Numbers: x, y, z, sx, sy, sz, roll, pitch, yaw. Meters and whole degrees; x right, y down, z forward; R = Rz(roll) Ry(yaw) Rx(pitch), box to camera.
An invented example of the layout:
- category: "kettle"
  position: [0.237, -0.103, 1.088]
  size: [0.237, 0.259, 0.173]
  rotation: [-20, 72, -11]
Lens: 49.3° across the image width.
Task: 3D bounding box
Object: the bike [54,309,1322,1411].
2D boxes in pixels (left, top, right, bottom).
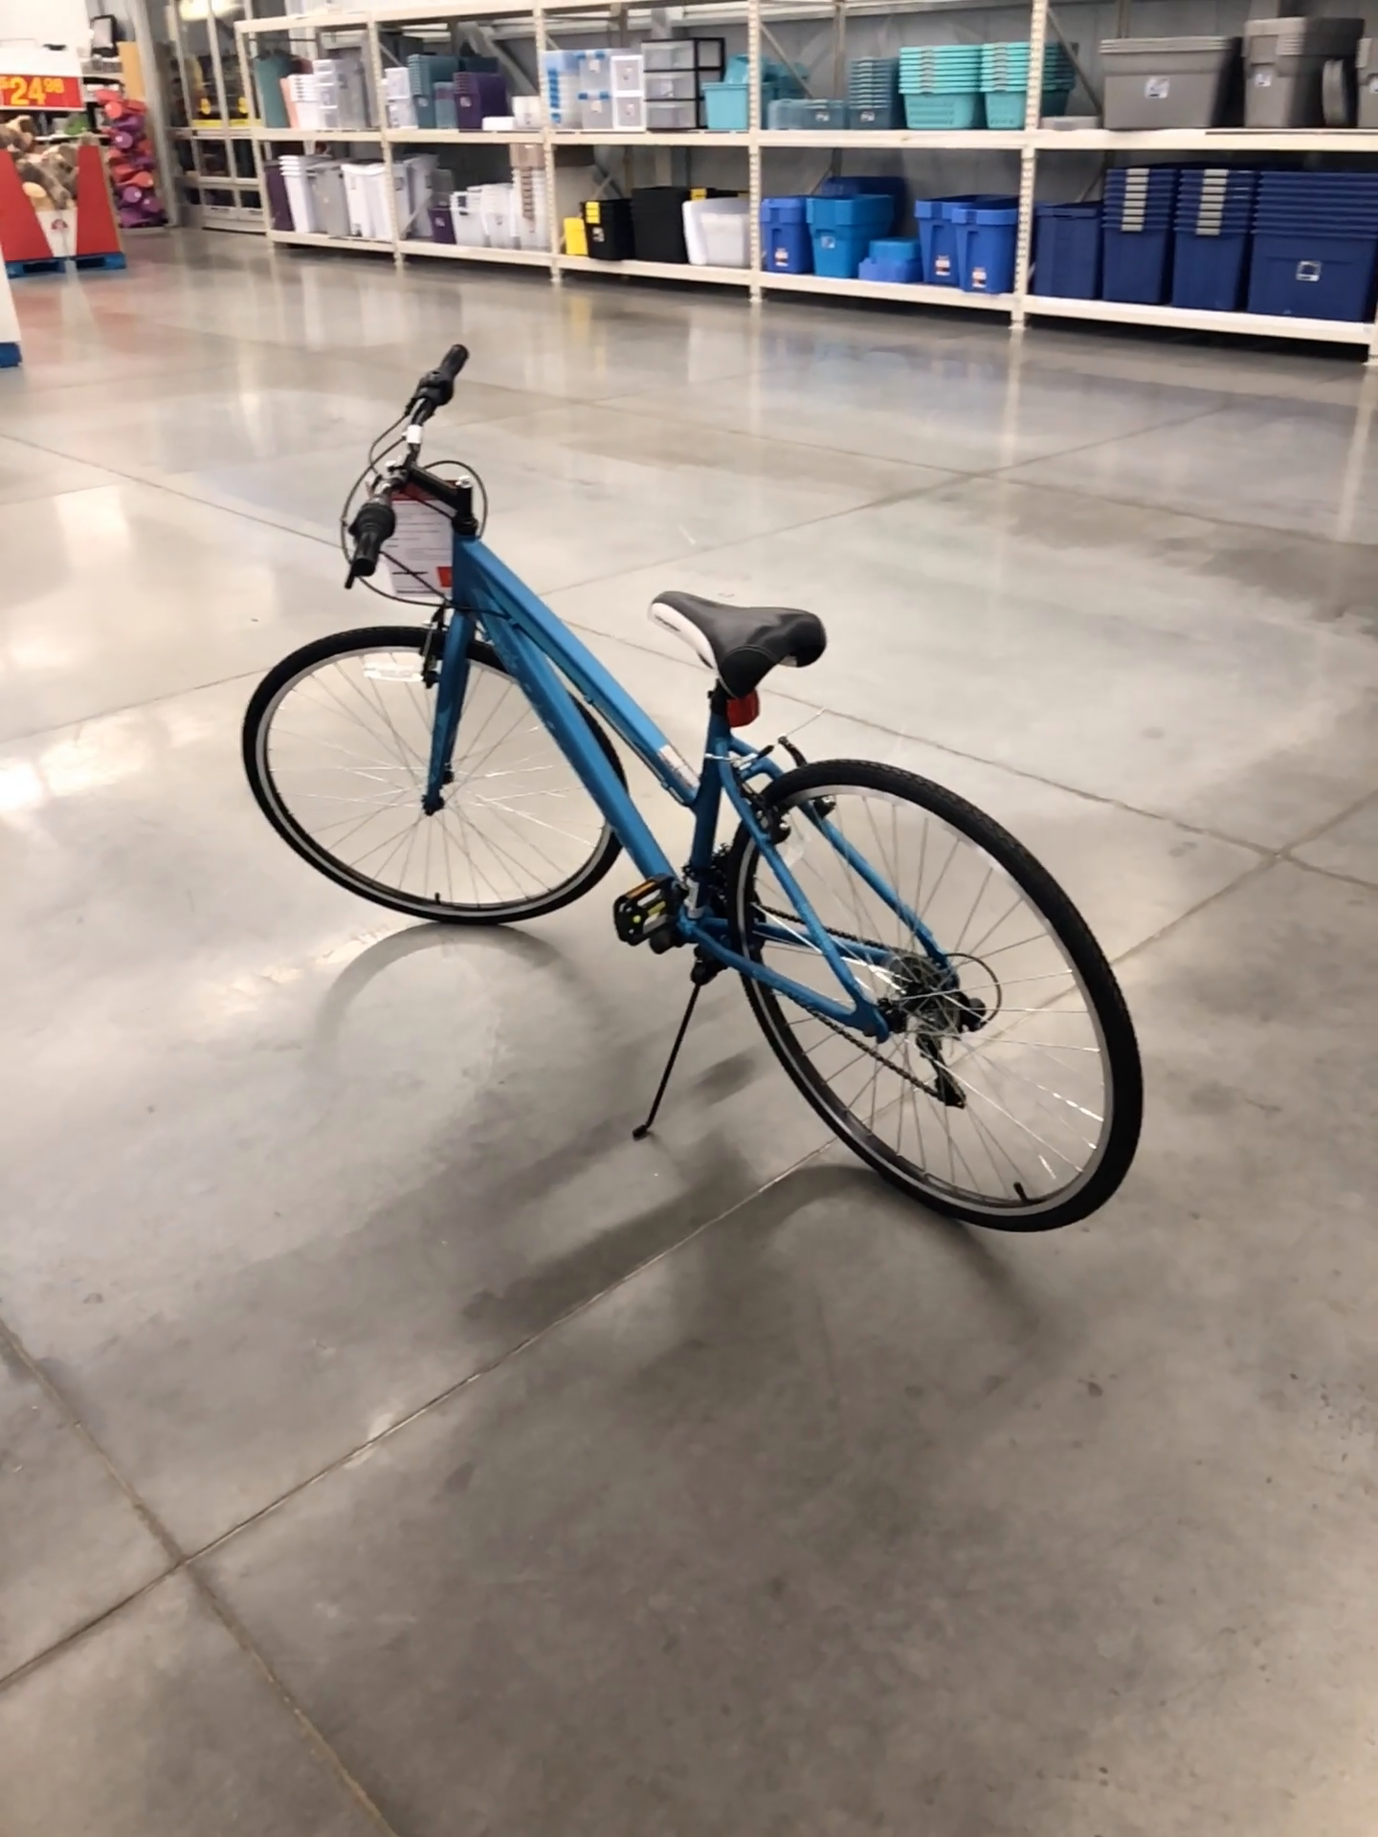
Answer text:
- category: "bike"
  position: [-0.100, -0.238, 2.117]
  size: [1.610, 0.978, 0.579]
  rotation: [22, 35, 34]
